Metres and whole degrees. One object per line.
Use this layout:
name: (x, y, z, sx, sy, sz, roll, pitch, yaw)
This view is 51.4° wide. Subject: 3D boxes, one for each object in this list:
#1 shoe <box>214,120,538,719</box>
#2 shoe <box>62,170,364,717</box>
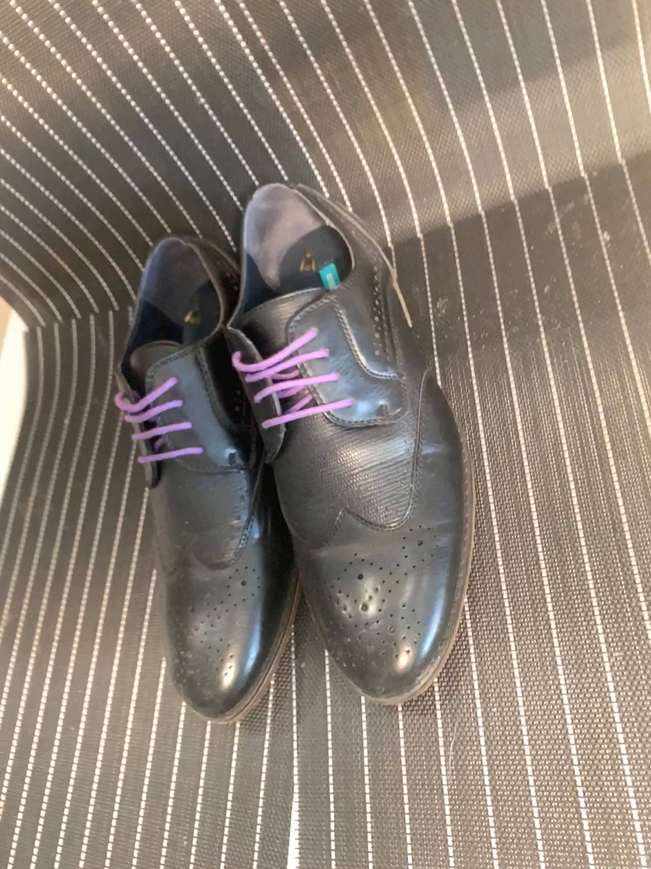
shoe: (0.015, -0.008, 0.353, 0.110, 0.090, 0.281, -17, 62, 24)
shoe: (-0.059, 0.008, 0.413, 0.120, 0.099, 0.300, -13, 64, 25)
